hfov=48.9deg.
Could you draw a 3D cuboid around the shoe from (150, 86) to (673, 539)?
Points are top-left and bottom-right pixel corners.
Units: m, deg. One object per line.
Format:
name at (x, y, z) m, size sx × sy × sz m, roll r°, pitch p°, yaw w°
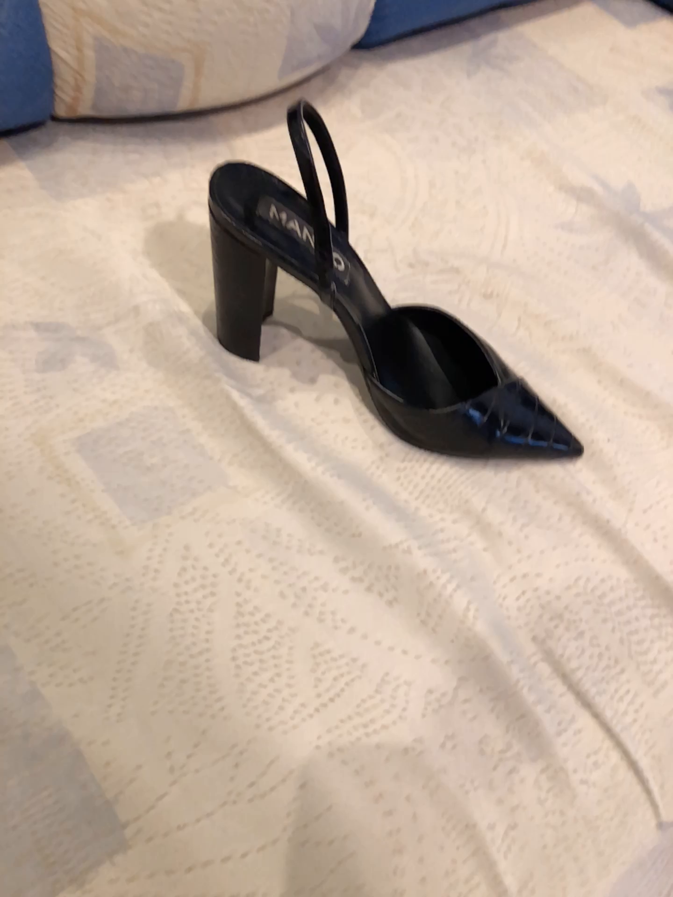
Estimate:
shoe at (0.039, -0.066, 0.390) m, size 0.240 × 0.129 × 0.101 m, roll 21°, pitch 56°, yaw 3°
